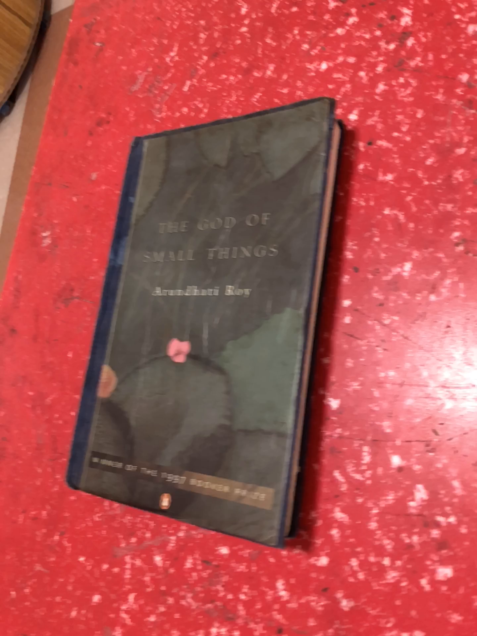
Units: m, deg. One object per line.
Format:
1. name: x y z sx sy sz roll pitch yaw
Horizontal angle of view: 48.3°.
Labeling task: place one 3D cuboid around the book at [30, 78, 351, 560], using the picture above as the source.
1. book: -0.028 -0.005 0.293 0.151 0.040 0.220 0 76 33
